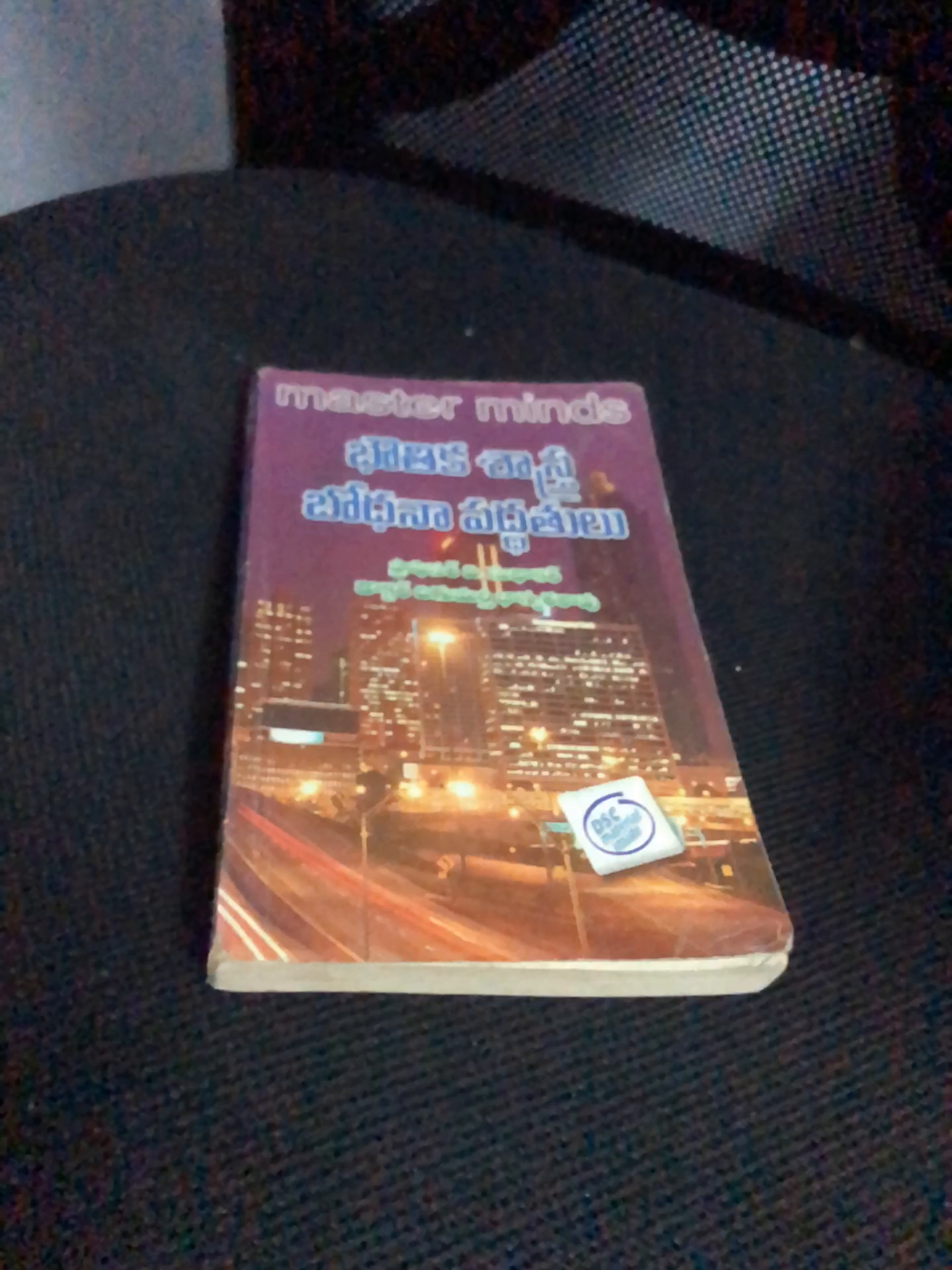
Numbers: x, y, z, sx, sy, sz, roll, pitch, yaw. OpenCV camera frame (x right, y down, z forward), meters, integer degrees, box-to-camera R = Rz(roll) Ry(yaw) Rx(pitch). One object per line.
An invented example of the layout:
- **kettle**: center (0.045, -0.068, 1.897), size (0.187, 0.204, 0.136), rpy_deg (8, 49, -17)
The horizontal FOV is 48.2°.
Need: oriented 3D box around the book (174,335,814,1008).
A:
- **book**: center (-0.004, -0.003, 0.315), size (0.146, 0.027, 0.219), rpy_deg (5, 48, -14)
